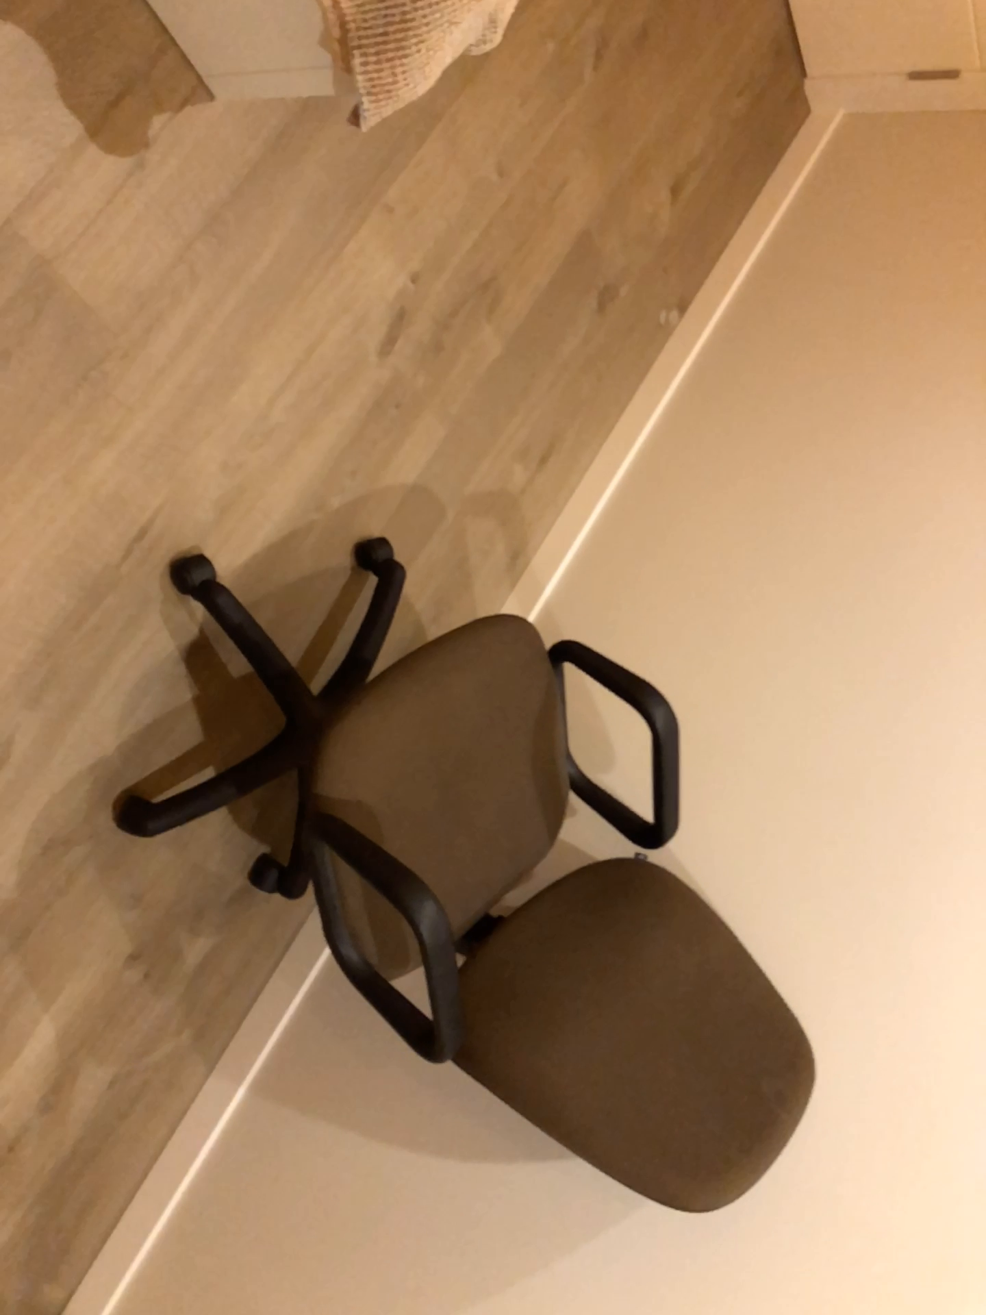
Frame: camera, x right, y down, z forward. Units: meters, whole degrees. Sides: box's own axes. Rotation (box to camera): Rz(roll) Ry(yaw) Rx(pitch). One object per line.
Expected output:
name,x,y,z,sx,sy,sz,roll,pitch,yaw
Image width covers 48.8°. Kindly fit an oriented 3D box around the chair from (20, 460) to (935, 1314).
chair,-0.024,0.247,1.540,0.633,0.975,0.711,-35,131,-36
